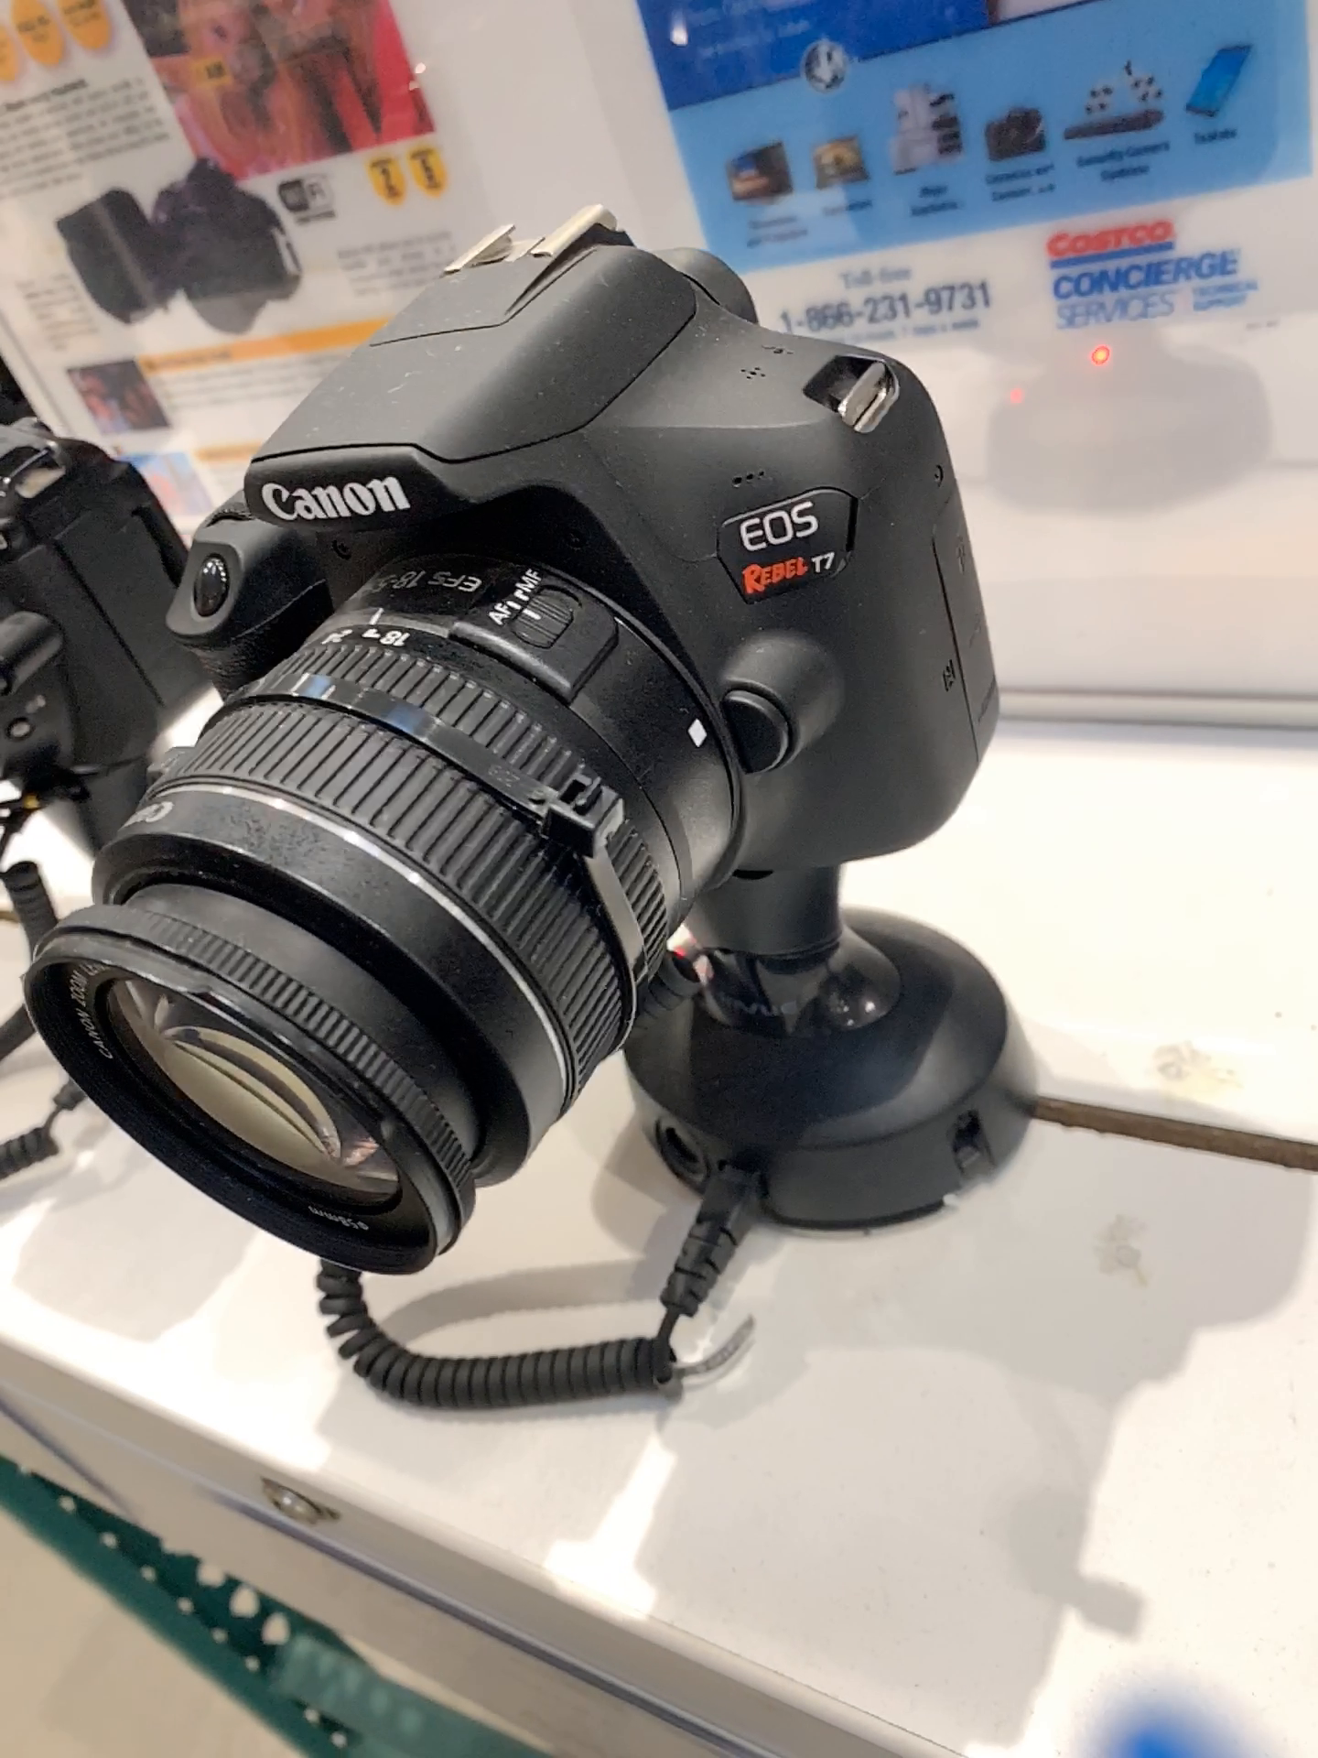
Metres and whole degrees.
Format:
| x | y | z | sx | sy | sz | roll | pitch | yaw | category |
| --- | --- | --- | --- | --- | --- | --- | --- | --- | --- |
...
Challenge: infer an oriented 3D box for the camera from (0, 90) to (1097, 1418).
| x | y | z | sx | sy | sz | roll | pitch | yaw | category |
| --- | --- | --- | --- | --- | --- | --- | --- | --- | --- |
| -0.026 | -0.029 | 0.198 | 0.130 | 0.089 | 0.141 | 6 | 45 | 32 | camera |
